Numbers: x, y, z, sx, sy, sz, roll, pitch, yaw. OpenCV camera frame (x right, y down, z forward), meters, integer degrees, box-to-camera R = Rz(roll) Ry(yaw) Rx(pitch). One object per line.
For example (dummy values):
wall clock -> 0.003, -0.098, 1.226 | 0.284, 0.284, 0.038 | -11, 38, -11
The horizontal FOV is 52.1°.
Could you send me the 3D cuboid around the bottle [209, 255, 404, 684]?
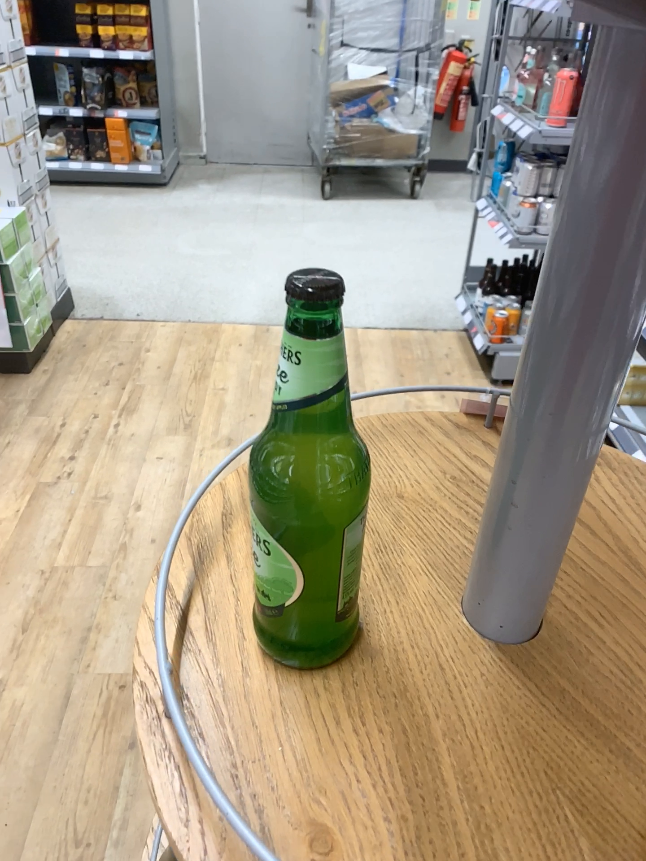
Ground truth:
bottle -> -0.009, 0.034, 0.372 | 0.078, 0.240, 0.070 | 7, 35, 7
